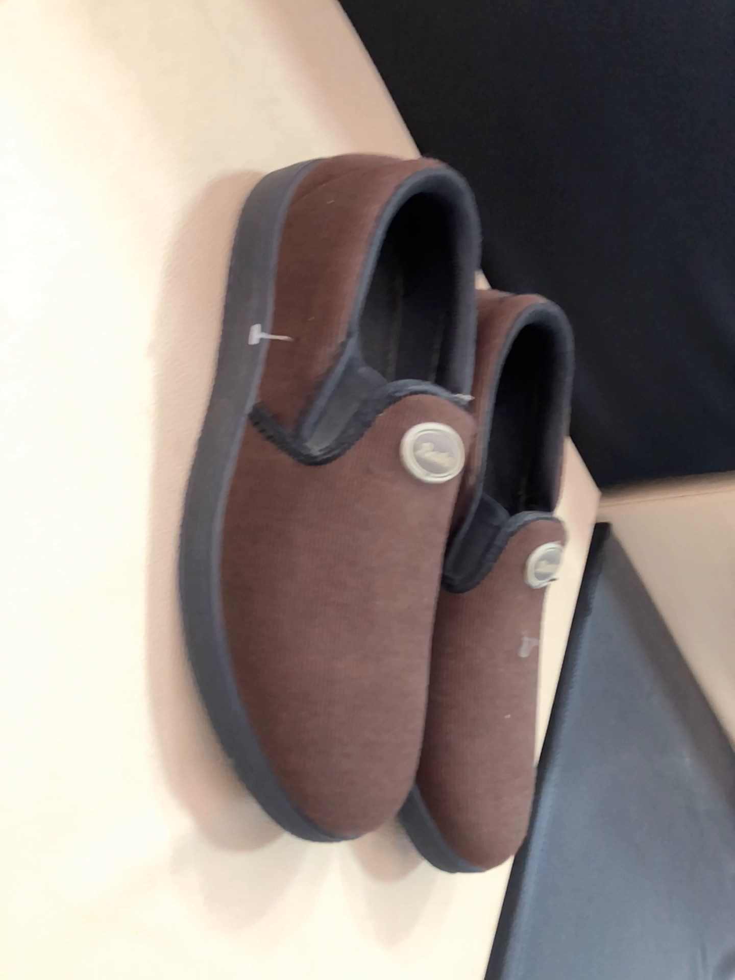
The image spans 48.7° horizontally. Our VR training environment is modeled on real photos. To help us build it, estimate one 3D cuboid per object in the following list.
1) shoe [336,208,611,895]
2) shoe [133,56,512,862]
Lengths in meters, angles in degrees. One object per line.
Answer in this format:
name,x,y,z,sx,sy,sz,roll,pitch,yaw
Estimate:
shoe,0.048,0.025,0.374,0.091,0.079,0.270,18,68,-50
shoe,-0.012,-0.009,0.304,0.091,0.089,0.250,18,68,-50
